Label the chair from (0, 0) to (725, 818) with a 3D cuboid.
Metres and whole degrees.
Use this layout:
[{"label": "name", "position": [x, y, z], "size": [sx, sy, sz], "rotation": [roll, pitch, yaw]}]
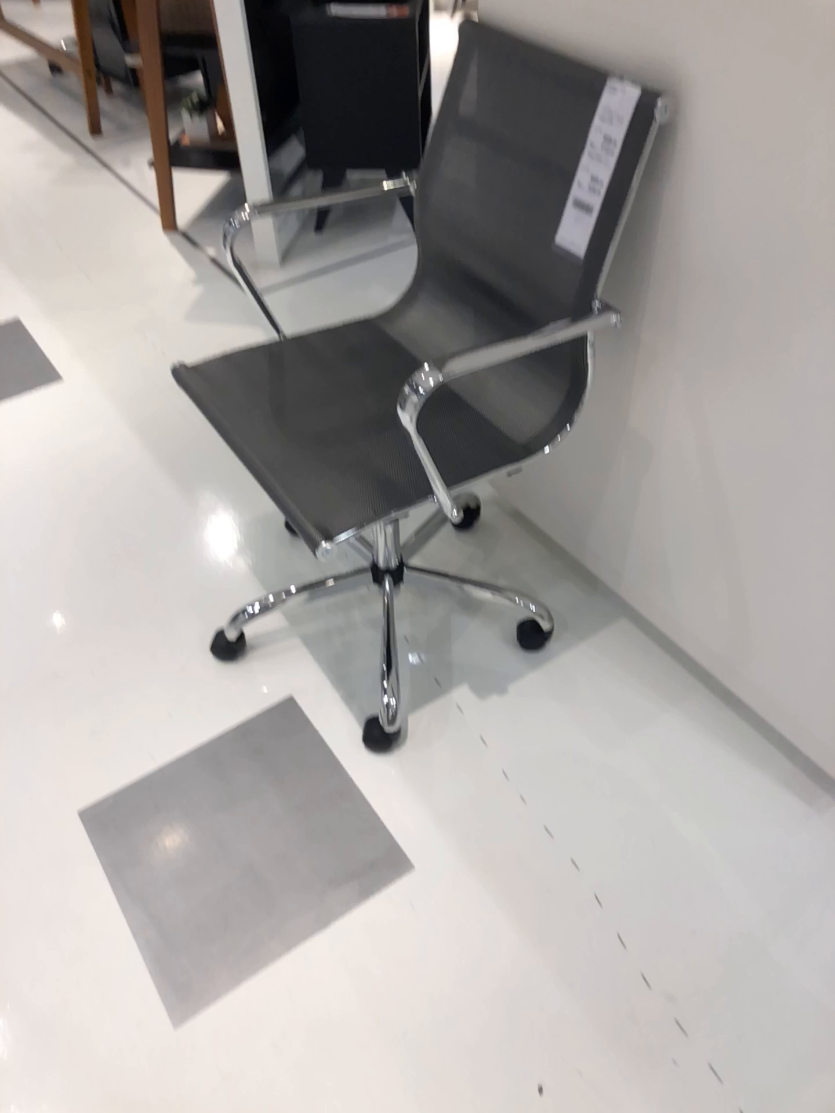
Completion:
[{"label": "chair", "position": [-0.085, -0.232, 1.396], "size": [0.651, 0.903, 0.623], "rotation": [-25, 48, -21]}]
